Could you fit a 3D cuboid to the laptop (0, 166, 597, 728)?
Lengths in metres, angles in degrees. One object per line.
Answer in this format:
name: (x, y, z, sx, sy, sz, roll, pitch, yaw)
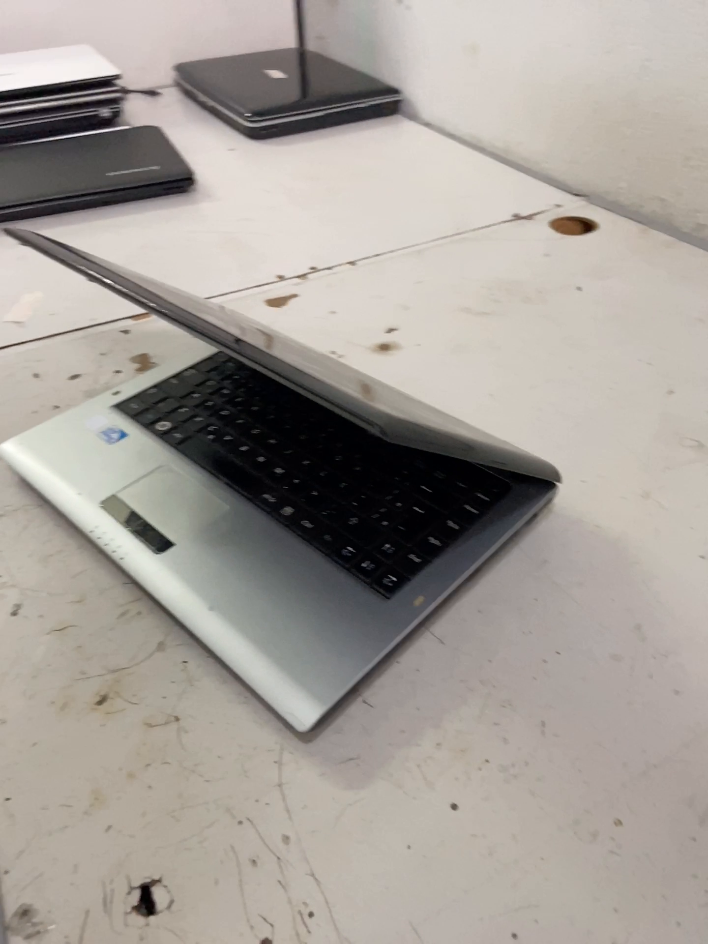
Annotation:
laptop: (-0.068, -0.058, 0.475, 0.334, 0.152, 0.241, 31, 51, 33)
